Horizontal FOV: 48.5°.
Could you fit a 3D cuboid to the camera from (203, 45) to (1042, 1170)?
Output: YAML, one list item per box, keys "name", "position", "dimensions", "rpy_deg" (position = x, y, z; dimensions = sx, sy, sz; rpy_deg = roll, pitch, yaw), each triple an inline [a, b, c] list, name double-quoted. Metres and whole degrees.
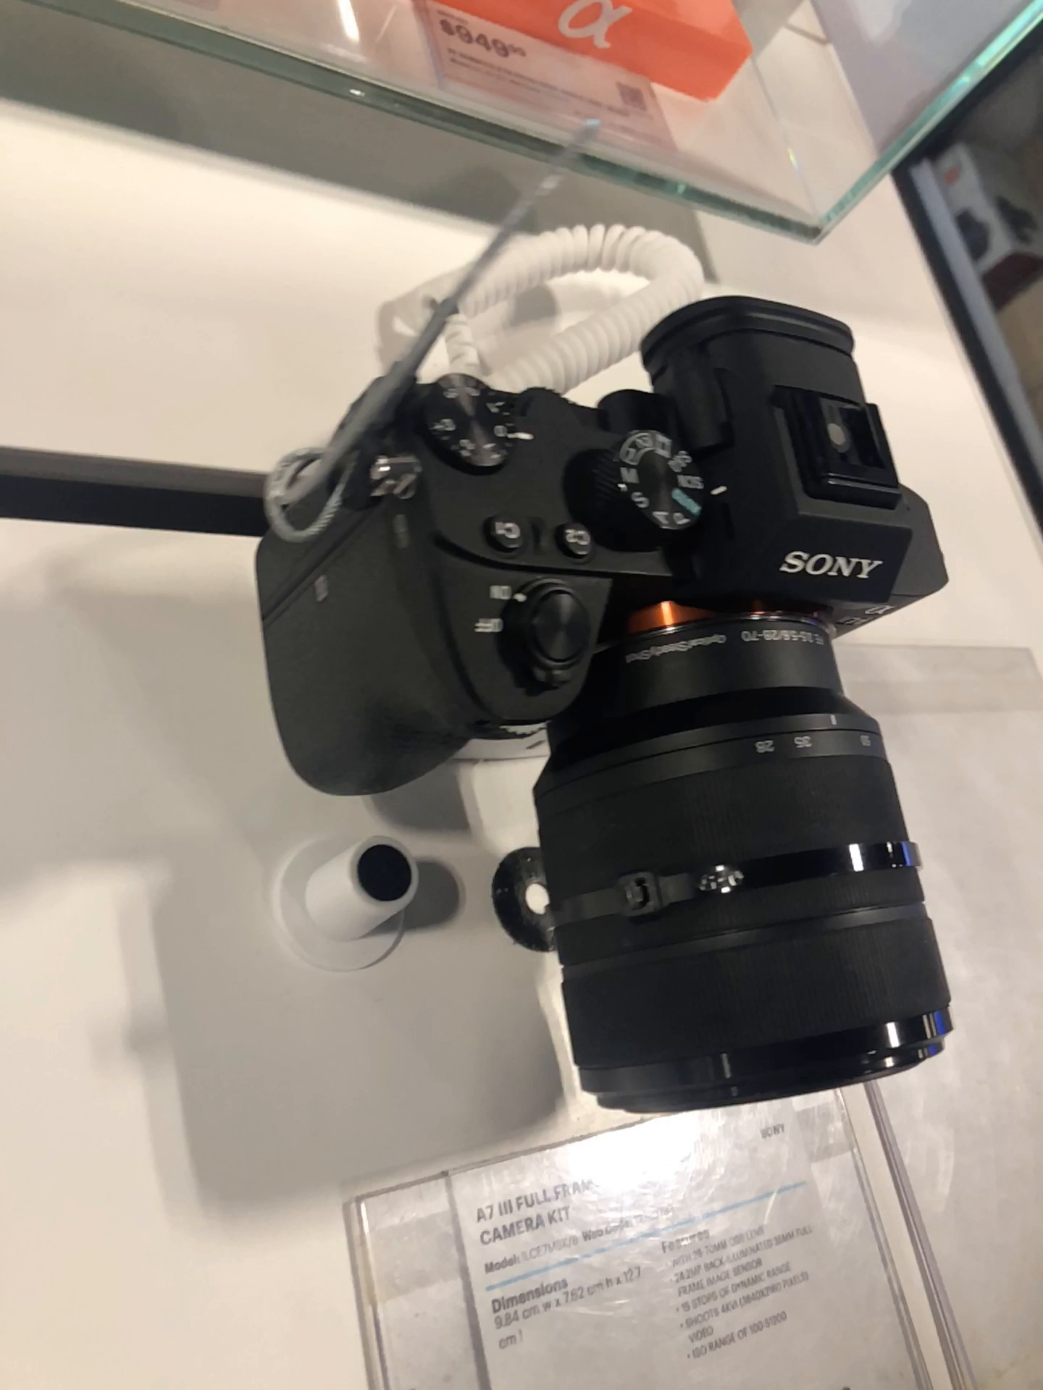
- name: "camera"
  position: [0.029, -0.005, 0.199]
  dimensions: [0.120, 0.100, 0.130]
  rpy_deg: [-1, 68, -34]
